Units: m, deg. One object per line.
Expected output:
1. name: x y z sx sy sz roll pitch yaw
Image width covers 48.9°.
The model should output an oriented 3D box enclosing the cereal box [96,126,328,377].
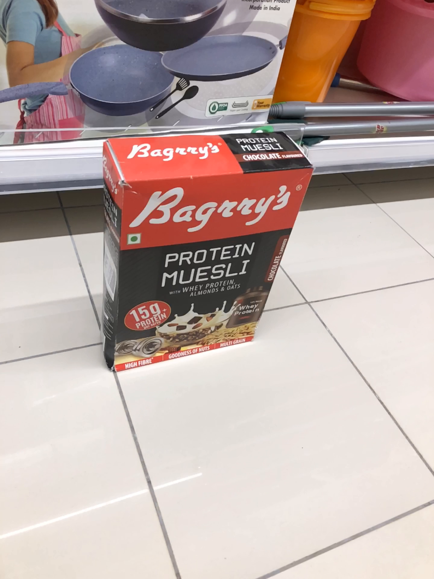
1. cereal box: -0.020 -0.036 0.497 0.191 0.238 0.080 -10 45 -23
